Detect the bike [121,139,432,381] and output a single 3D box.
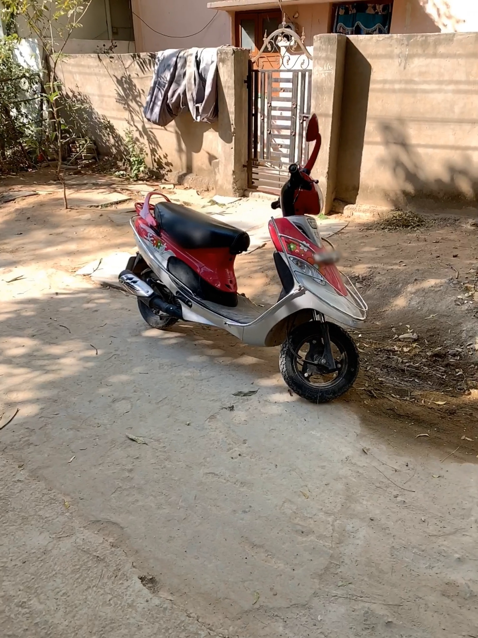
[{"bbox_3d":[0.121,-0.408,2.721,1.496,1.037,0.485,16,31,32],"label":"bike"}]
